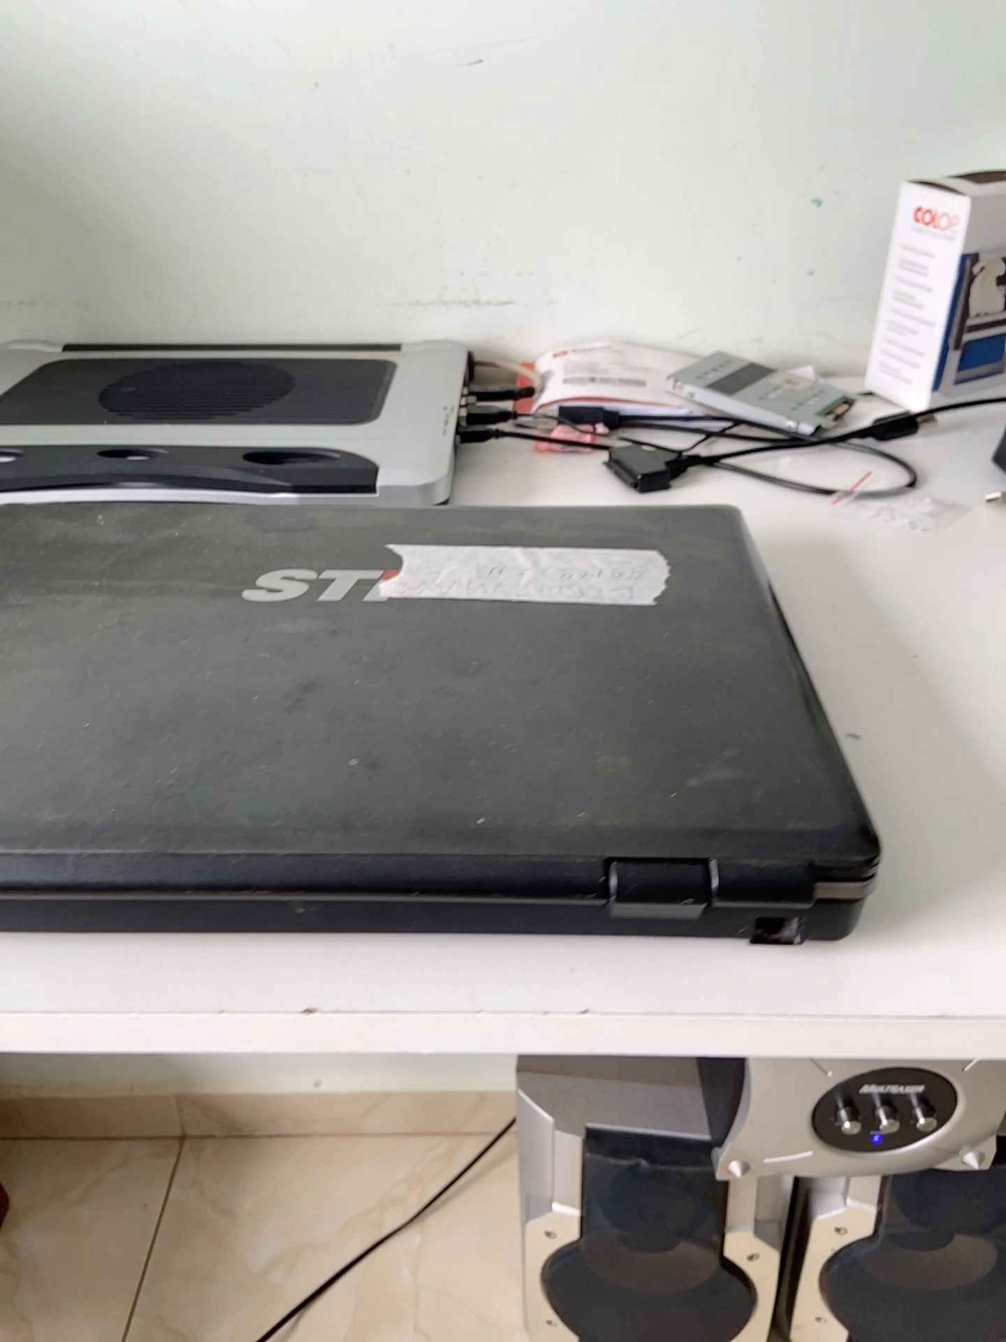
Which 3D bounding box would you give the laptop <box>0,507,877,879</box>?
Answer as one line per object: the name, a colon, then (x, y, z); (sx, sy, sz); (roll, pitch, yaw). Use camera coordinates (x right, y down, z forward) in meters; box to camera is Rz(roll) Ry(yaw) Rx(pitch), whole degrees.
laptop: (-0.070, -0.010, 0.371); (0.337, 0.006, 0.236); (0, 31, 3)
